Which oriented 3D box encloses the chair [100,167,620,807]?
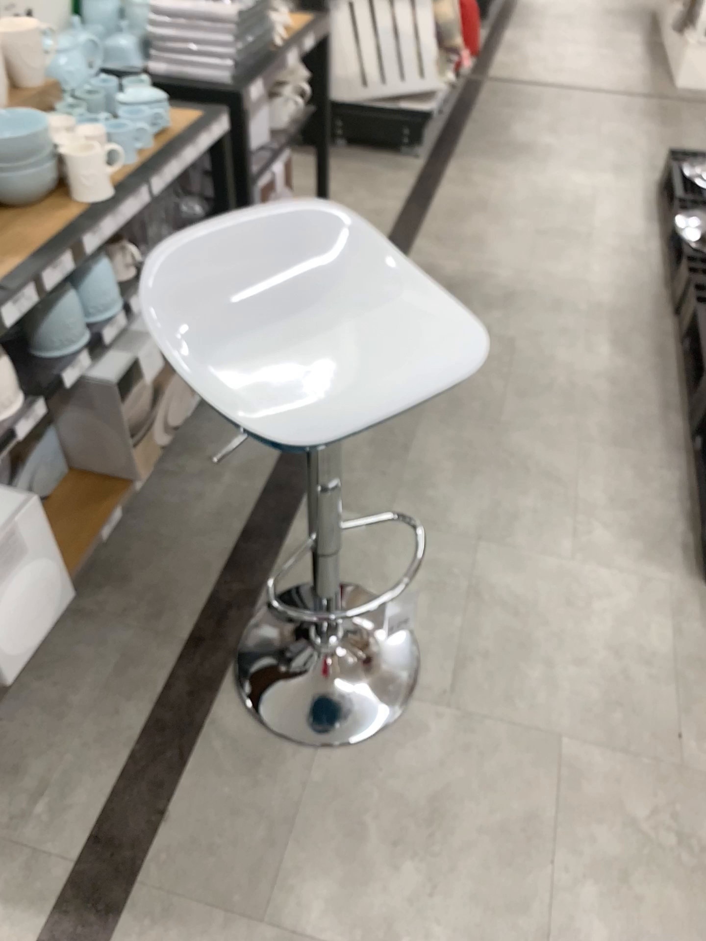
[{"bbox_3d":[-0.015,0.057,1.151,0.456,0.825,0.423,-25,51,-26],"label":"chair"}]
